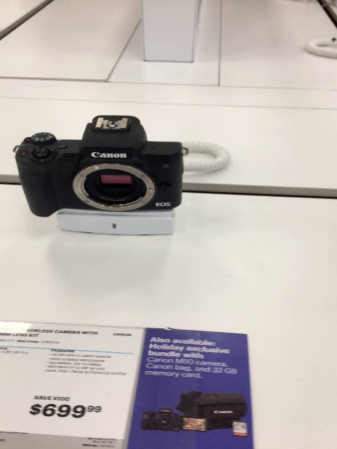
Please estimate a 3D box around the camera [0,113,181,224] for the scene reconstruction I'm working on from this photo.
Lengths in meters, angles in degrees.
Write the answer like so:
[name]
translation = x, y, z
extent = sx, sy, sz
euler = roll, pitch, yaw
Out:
[camera]
translation = -0.061, -0.044, 0.359
extent = 0.139, 0.075, 0.053
euler = 1, 45, 1
